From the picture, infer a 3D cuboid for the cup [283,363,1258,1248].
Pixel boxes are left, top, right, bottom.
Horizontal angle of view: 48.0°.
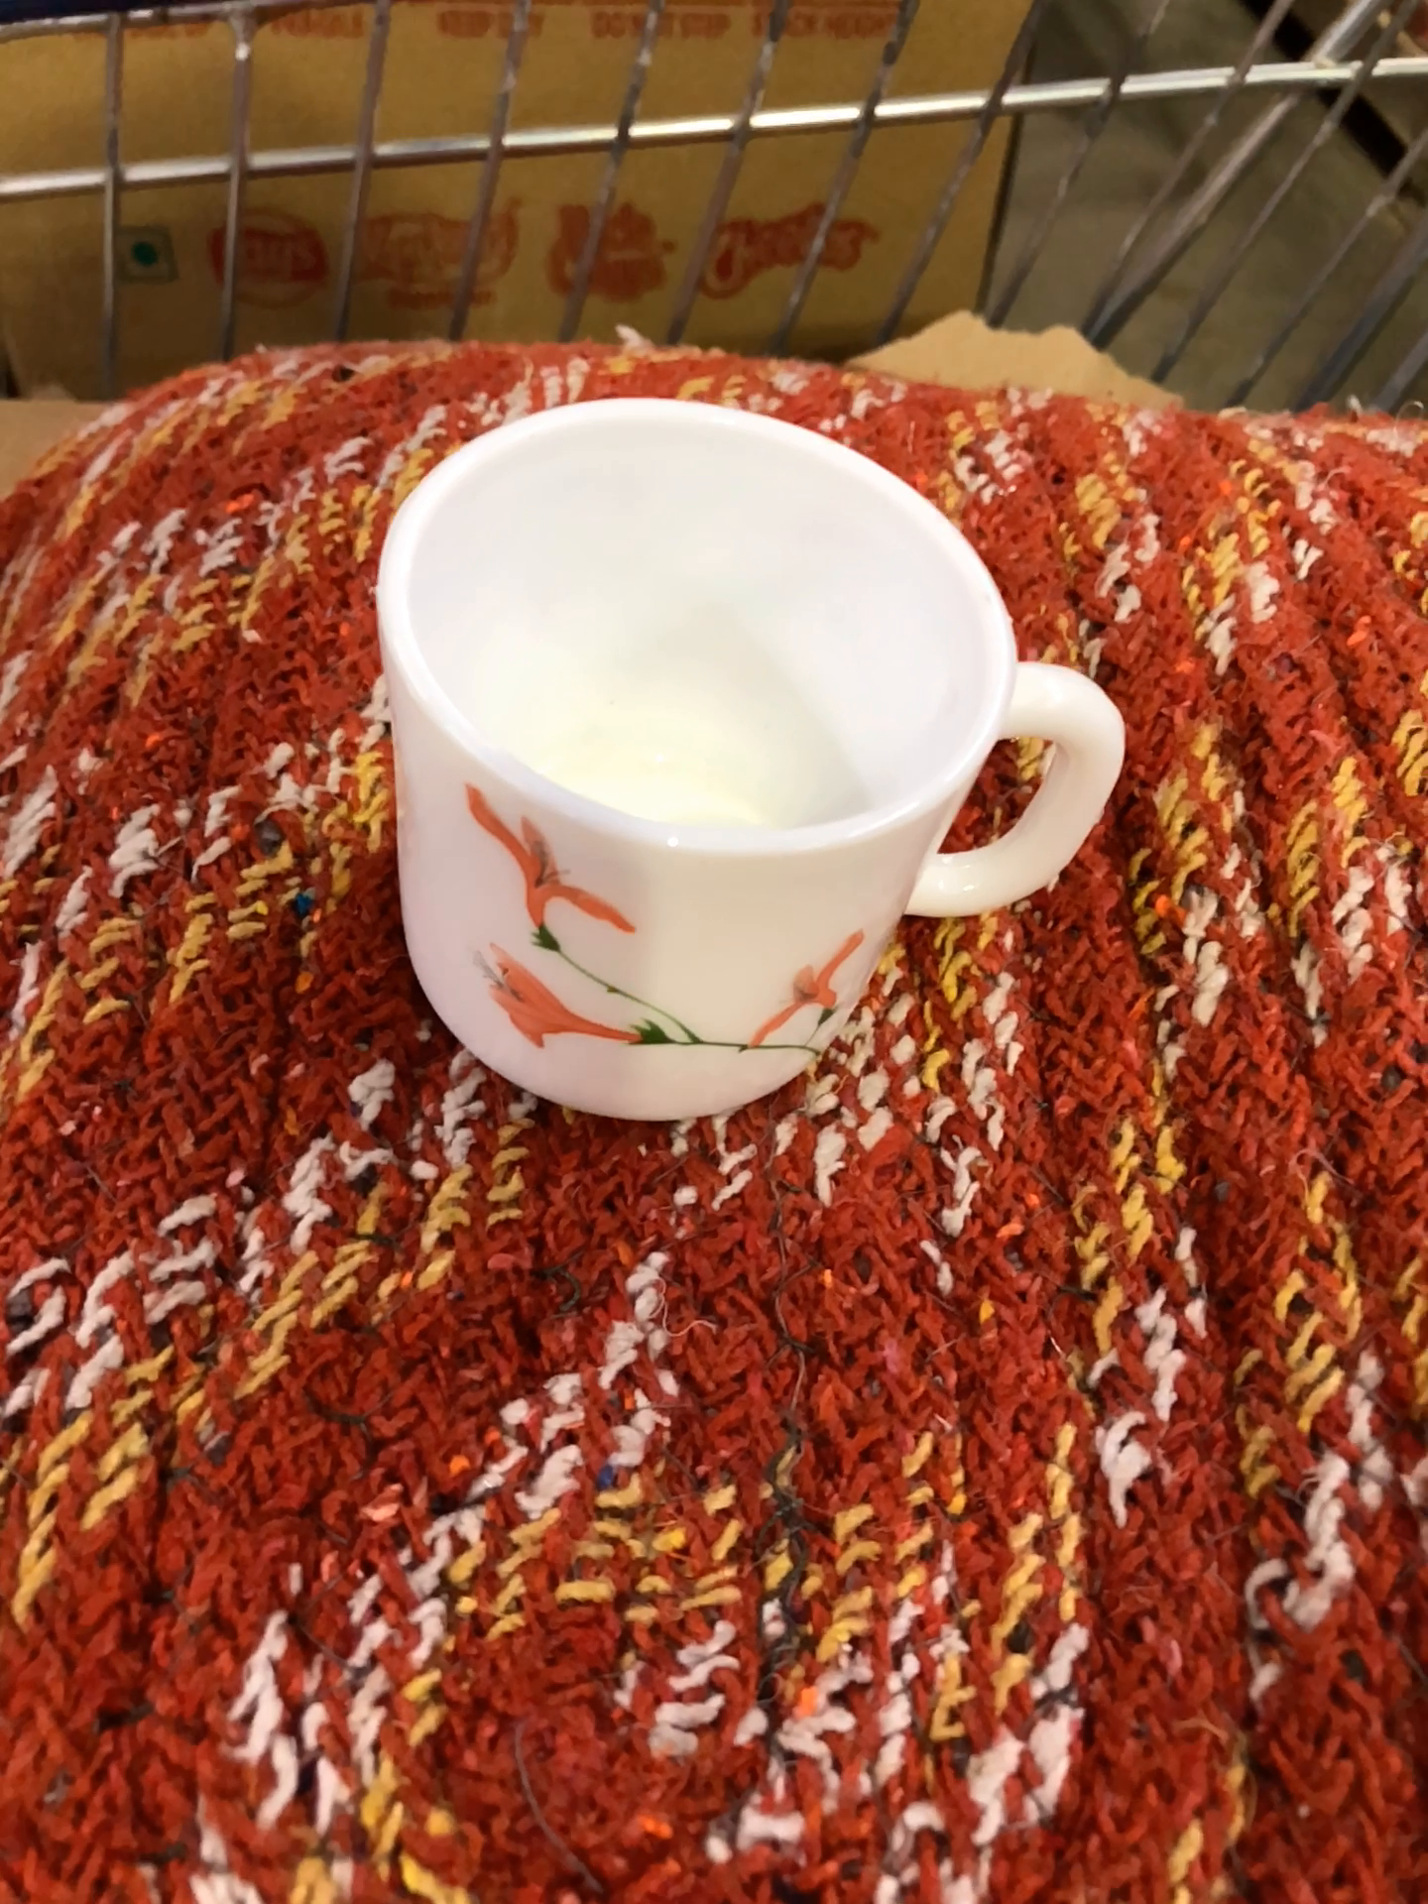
[{"bbox_3d":[-0.001,-0.014,0.174,0.080,0.060,0.070,1,52,-9],"label":"cup"}]
